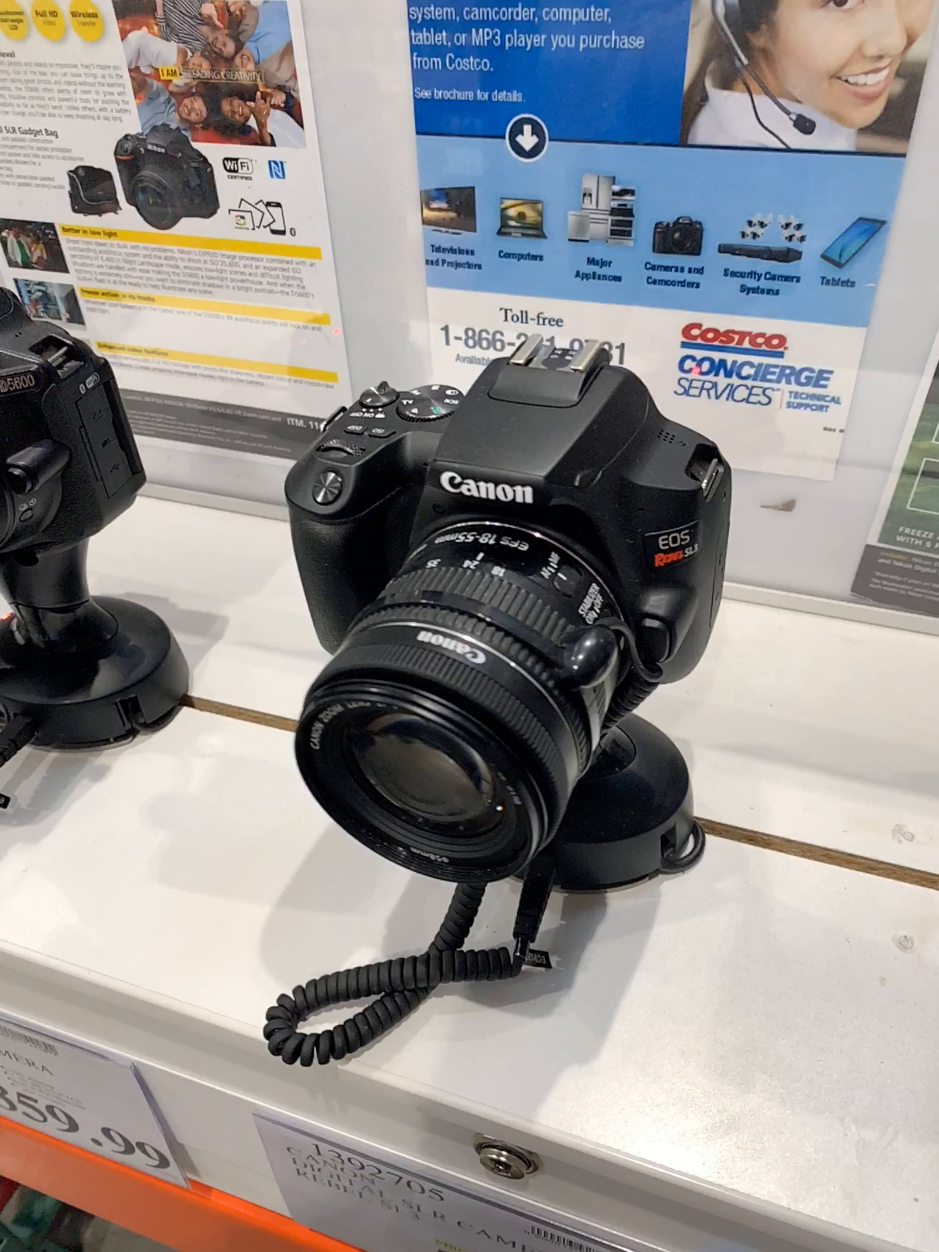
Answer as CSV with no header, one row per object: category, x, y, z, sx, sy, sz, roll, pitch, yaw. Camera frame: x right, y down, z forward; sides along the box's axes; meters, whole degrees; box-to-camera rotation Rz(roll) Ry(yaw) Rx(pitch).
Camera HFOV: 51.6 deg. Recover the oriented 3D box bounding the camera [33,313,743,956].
camera,-0.007,-0.008,0.238,0.120,0.089,0.111,10,43,19
